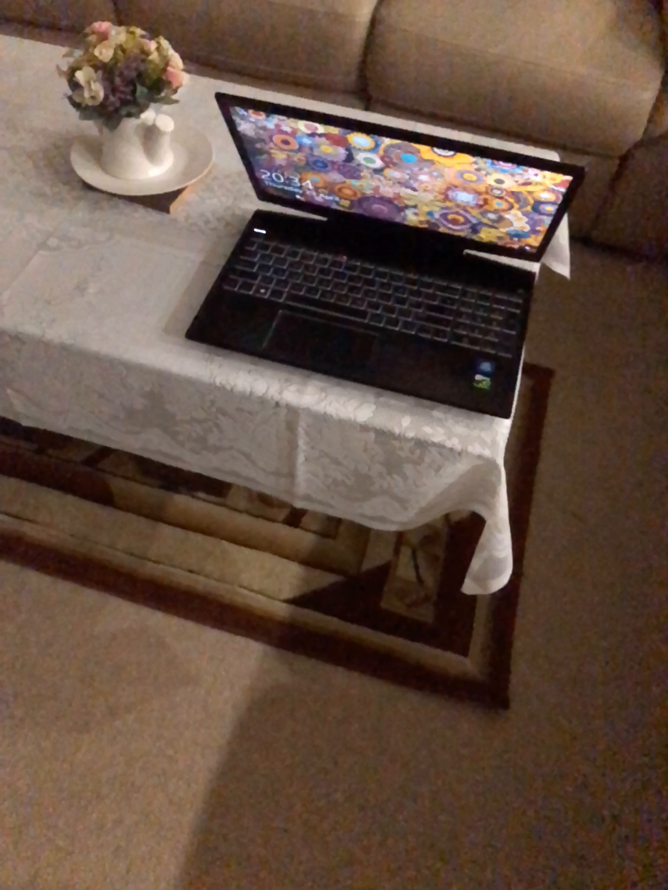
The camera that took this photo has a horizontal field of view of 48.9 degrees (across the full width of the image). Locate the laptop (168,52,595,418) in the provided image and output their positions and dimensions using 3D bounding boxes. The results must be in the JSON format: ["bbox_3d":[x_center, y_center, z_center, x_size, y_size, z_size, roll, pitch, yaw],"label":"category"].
[{"bbox_3d":[0.053,-0.224,0.771,0.355,0.199,0.244,15,53,7],"label":"laptop"}]
